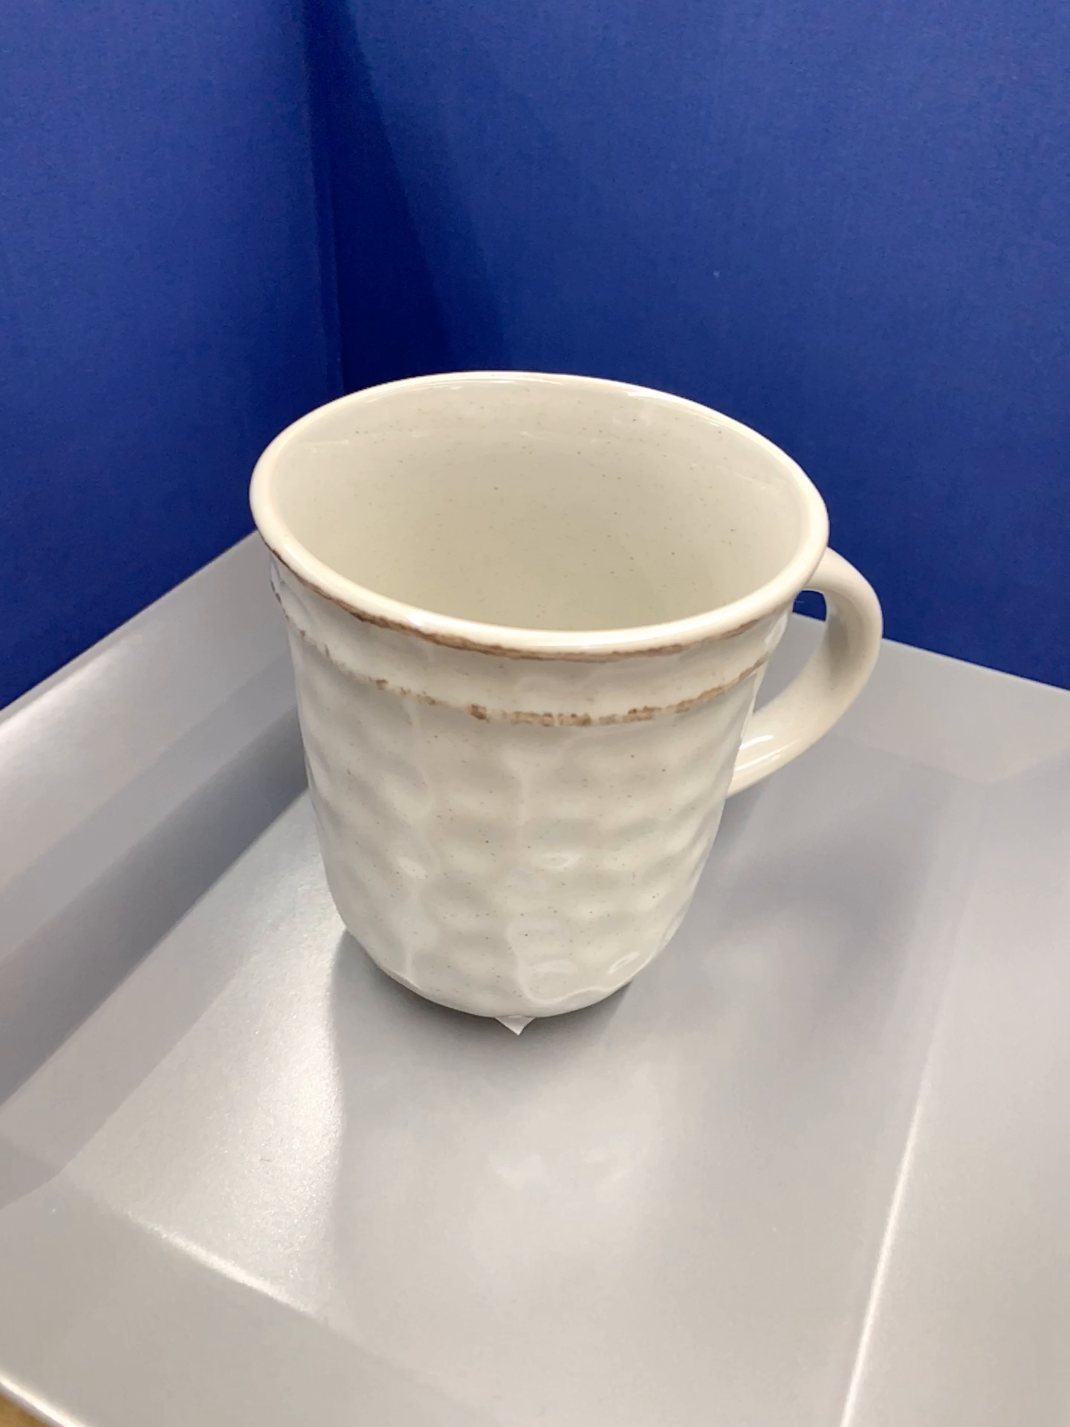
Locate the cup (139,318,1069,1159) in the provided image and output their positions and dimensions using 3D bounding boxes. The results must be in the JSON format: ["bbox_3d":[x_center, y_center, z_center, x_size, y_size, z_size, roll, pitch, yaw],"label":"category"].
[{"bbox_3d":[0.012,-0.010,0.211,0.123,0.082,0.101,-24,44,-32],"label":"cup"}]
